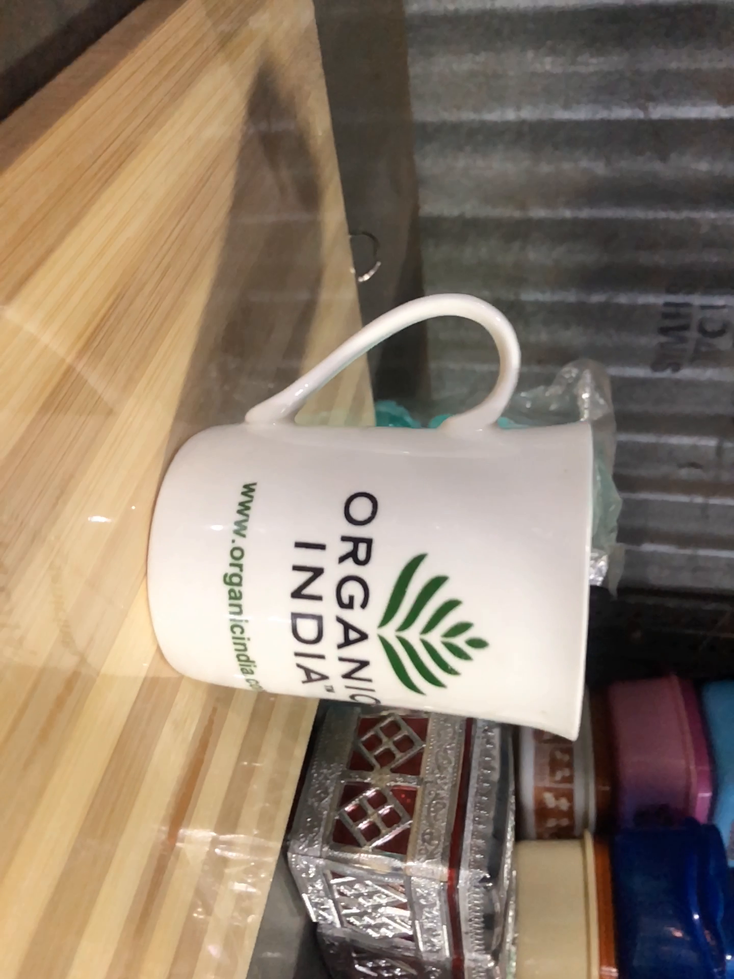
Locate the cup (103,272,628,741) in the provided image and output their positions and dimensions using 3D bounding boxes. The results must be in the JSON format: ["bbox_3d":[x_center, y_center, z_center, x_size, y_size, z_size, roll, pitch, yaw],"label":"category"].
[{"bbox_3d":[0.005,-0.003,0.217,0.070,0.110,0.100,-59,150,-68],"label":"cup"}]
